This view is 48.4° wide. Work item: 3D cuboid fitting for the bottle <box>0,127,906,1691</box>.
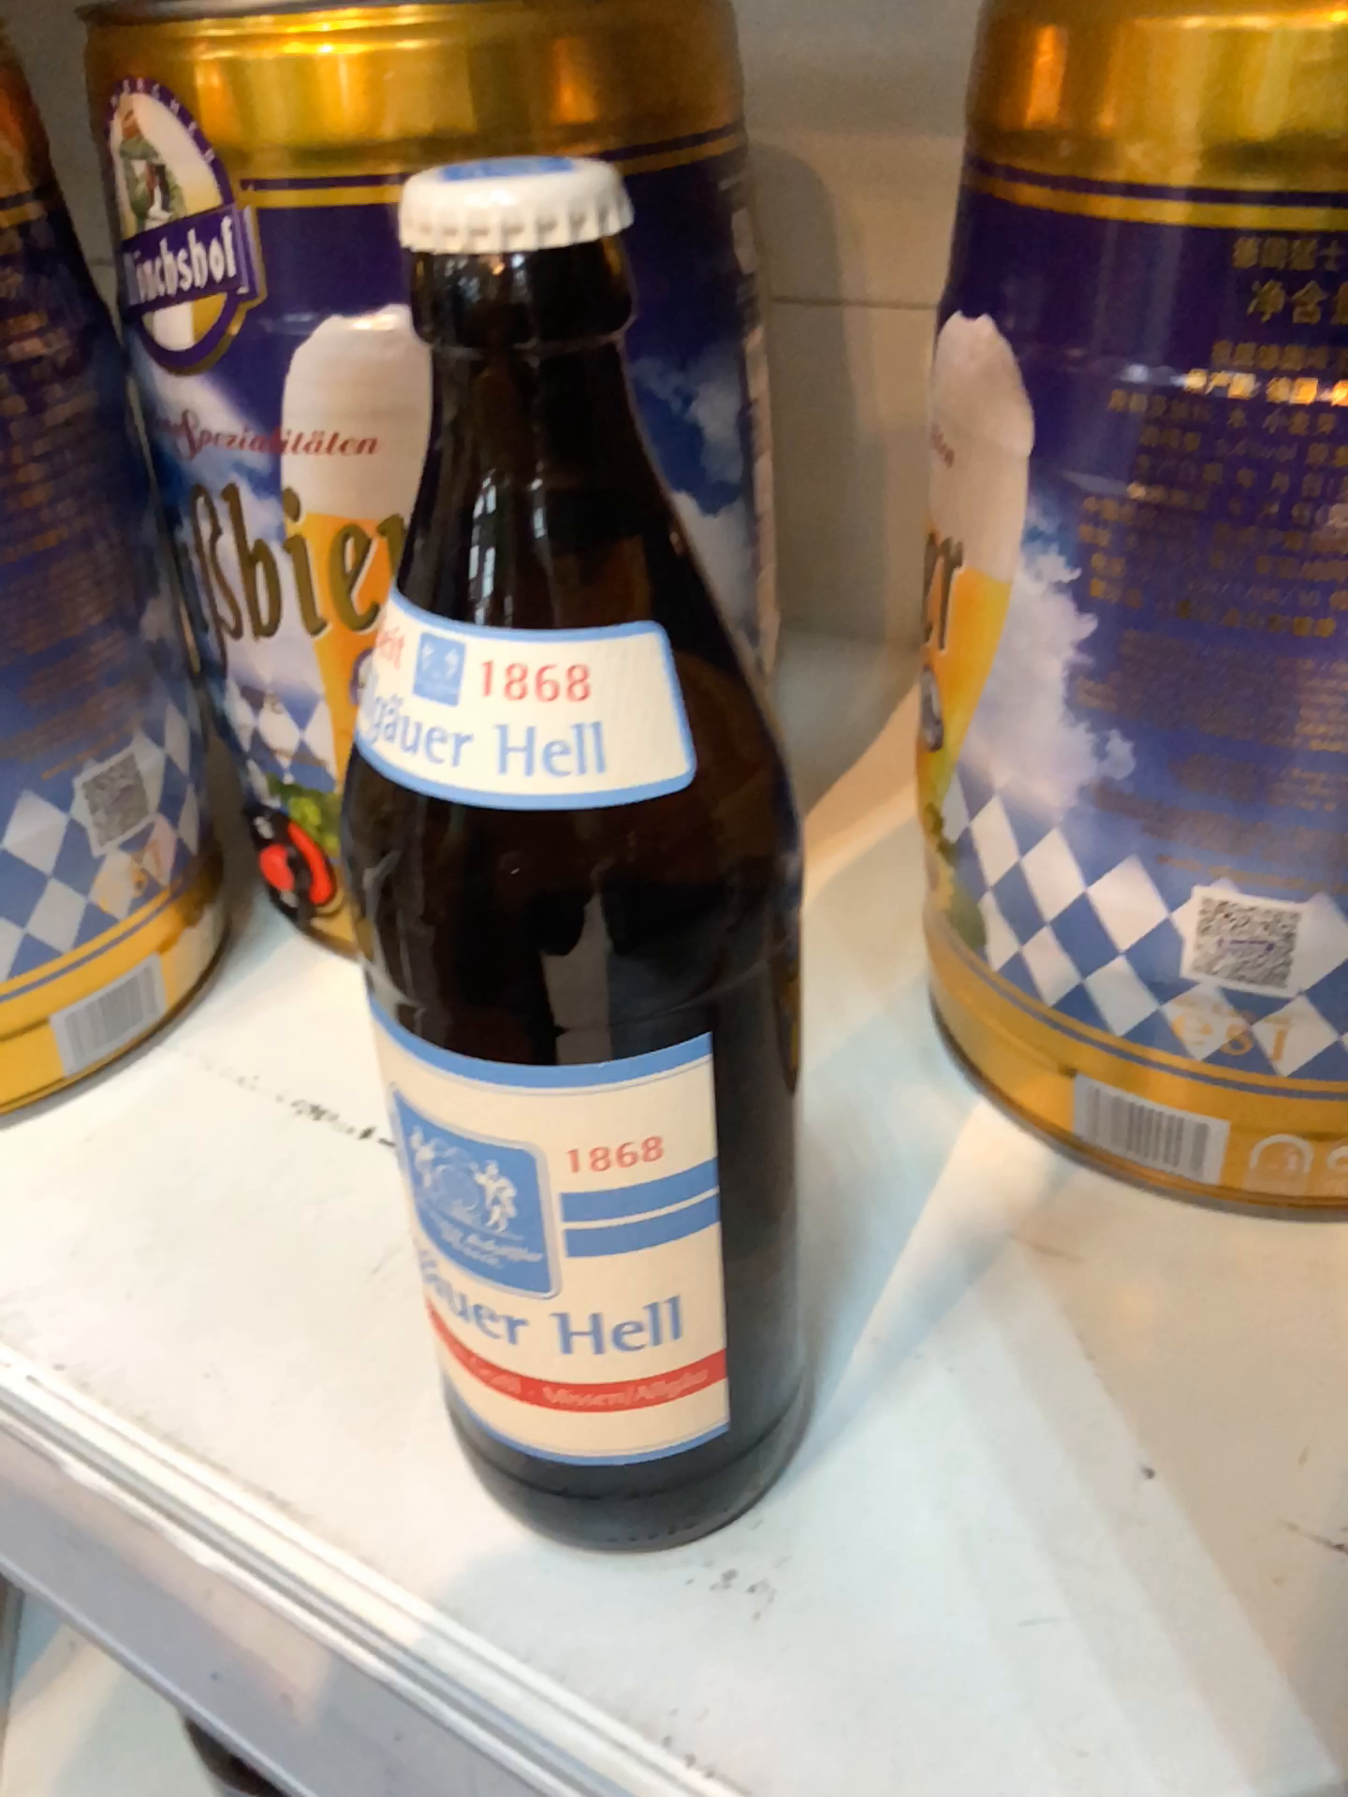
[{"bbox_3d":[-0.019,0.007,0.234,0.080,0.219,0.080,-3,32,2],"label":"bottle"}]
